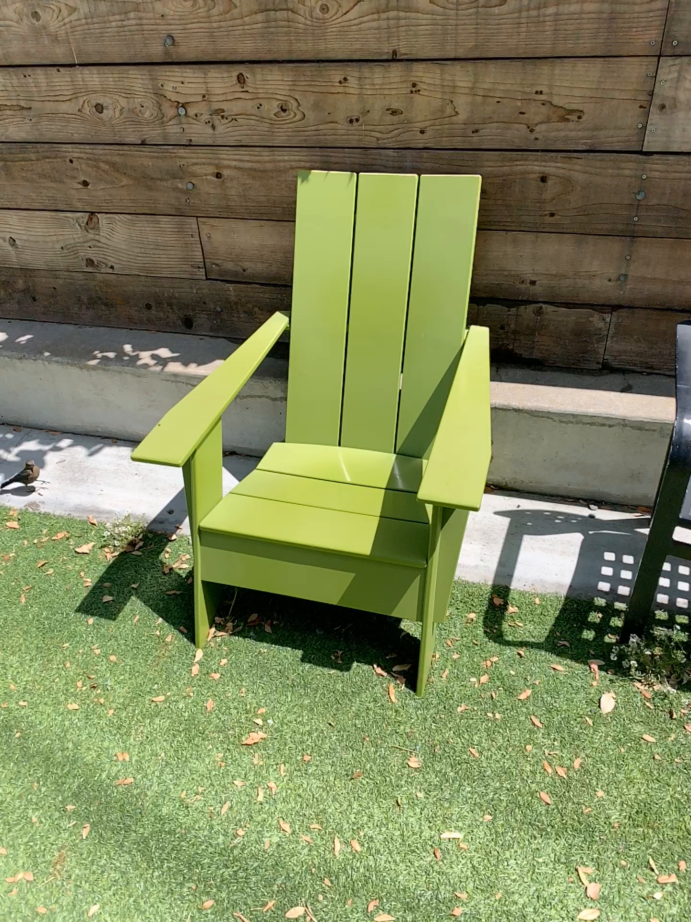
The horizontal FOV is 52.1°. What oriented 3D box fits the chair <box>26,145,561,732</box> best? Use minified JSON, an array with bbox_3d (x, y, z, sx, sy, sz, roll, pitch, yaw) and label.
[{"bbox_3d":[0.015,-0.120,1.577,0.721,0.845,0.904,9,41,16],"label":"chair"}]
